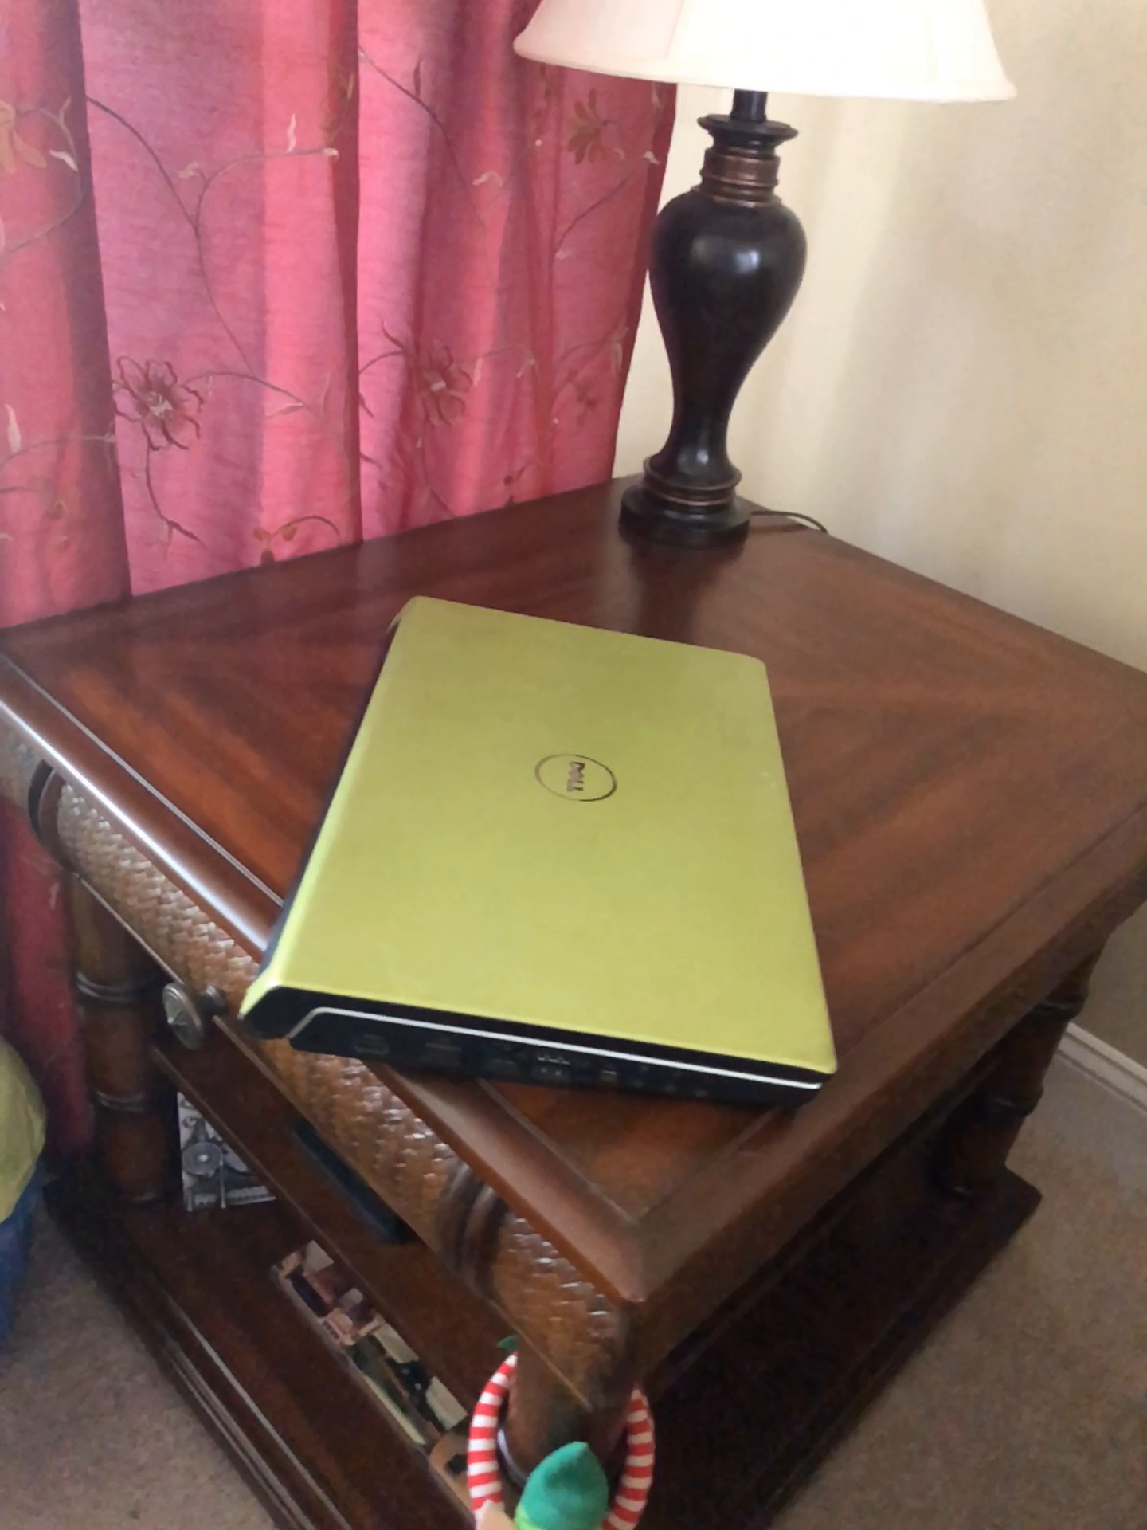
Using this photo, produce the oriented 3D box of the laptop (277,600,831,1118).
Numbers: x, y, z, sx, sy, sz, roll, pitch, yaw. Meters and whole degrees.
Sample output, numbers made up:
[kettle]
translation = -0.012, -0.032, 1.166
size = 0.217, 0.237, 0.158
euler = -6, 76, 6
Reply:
[laptop]
translation = 0.001, 0.021, 0.692
size = 0.236, 0.020, 0.380
euler = 11, 32, -4
